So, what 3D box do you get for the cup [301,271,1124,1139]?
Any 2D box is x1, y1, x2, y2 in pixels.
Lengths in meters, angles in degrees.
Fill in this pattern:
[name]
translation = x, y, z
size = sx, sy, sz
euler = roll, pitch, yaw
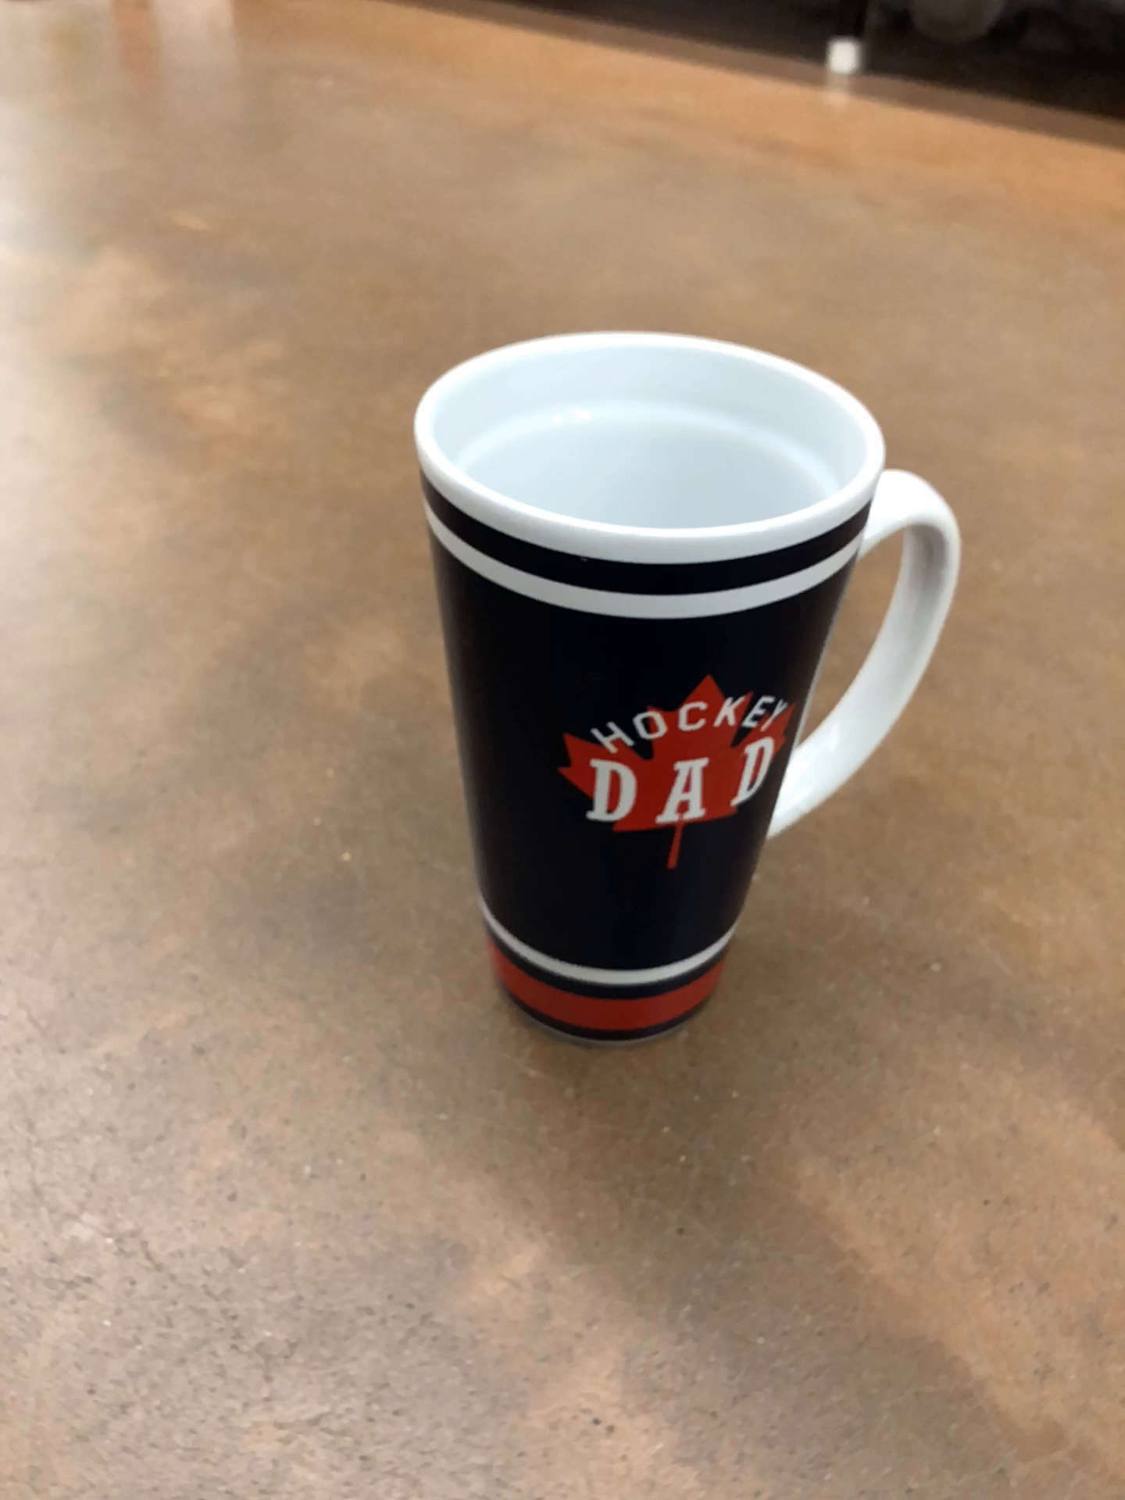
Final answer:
[cup]
translation = 0.028, -0.016, 0.281
size = 0.130, 0.129, 0.090
euler = -22, 45, -28
